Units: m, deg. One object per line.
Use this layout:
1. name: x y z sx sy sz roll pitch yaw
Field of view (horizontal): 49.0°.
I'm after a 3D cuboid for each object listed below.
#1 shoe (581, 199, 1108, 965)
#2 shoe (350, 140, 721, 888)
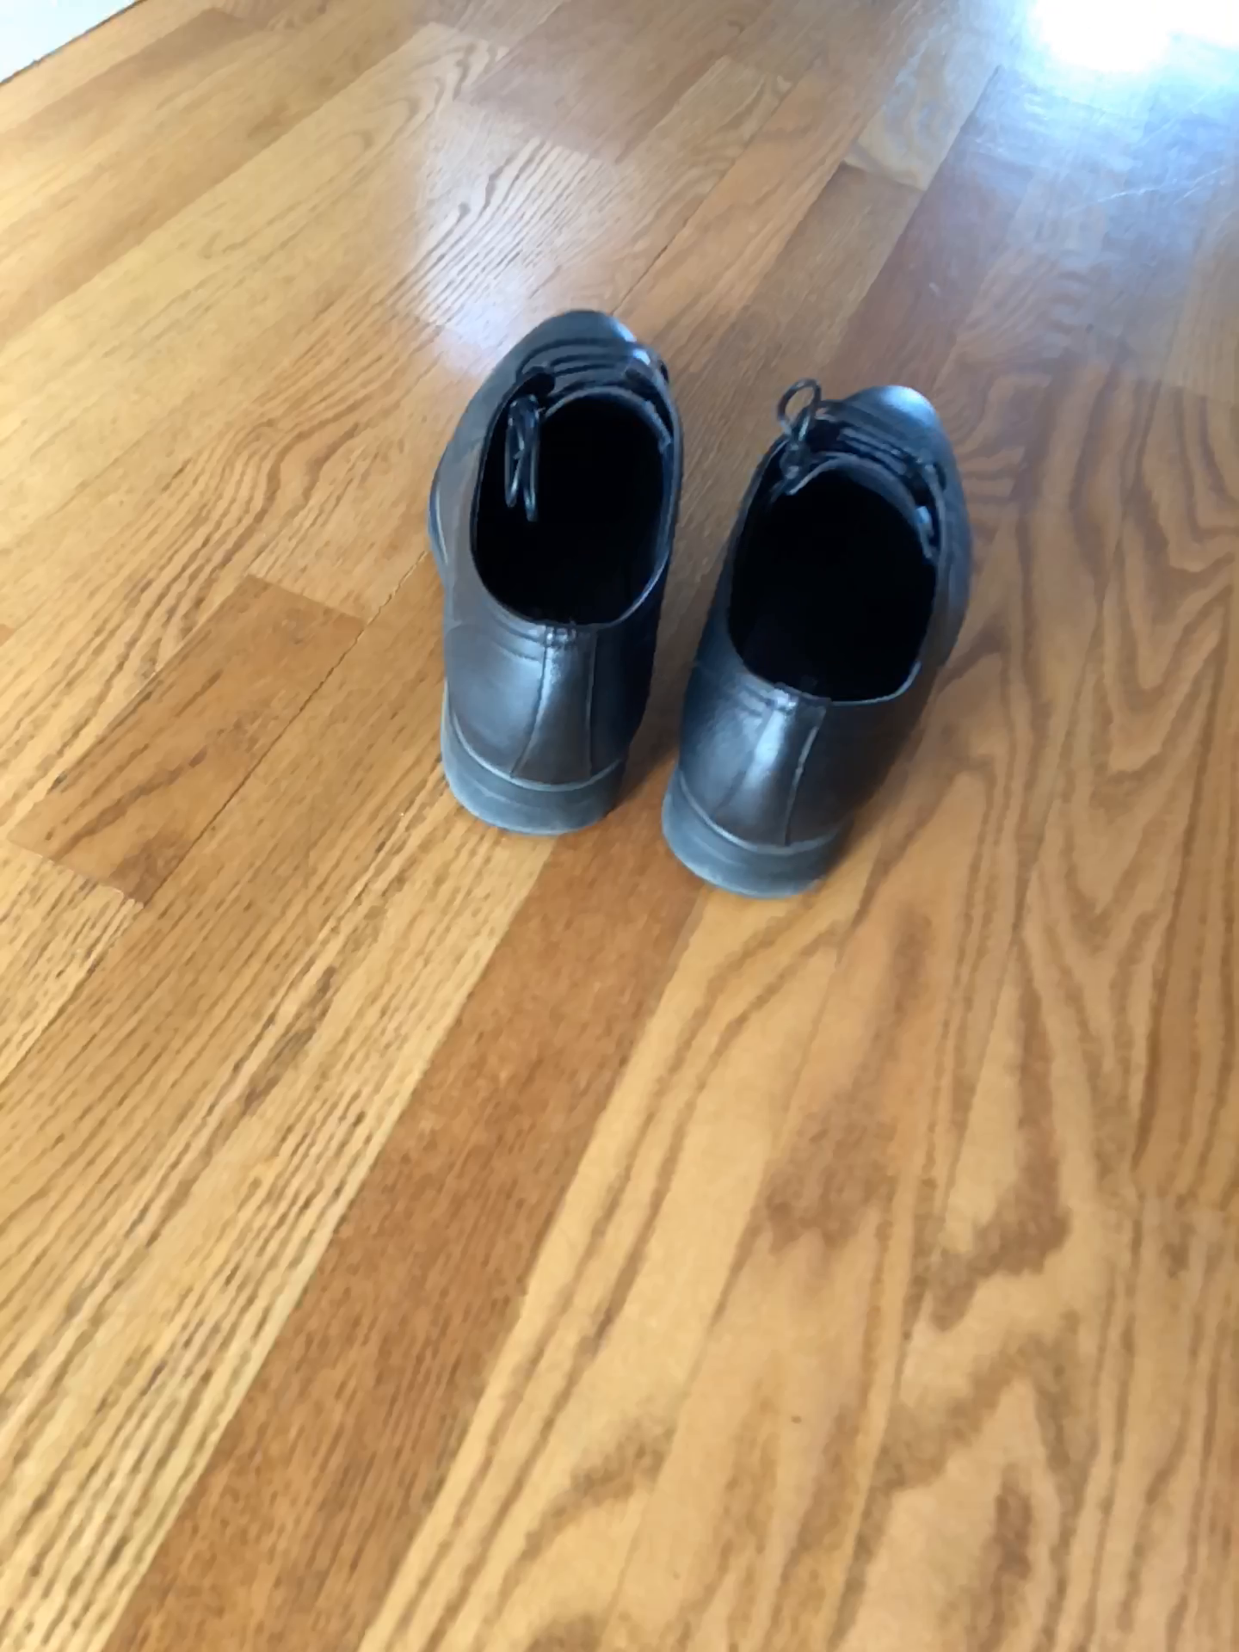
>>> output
1. shoe: 0.098 -0.113 0.548 0.110 0.124 0.300 22 52 6
2. shoe: -0.027 -0.141 0.562 0.110 0.124 0.305 8 51 -4
